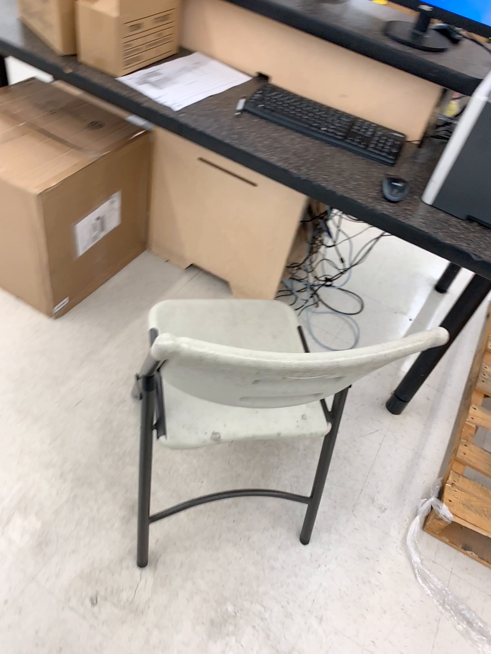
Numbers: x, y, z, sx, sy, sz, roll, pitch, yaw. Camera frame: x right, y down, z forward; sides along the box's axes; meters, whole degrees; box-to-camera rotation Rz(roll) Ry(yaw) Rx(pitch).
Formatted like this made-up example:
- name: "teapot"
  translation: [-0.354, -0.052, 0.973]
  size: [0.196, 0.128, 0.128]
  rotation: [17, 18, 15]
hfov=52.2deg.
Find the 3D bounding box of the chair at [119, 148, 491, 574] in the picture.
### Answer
- name: "chair"
  translation: [-0.003, 0.105, 1.129]
  size: [0.530, 0.747, 0.562]
  rotation: [-1, 49, -15]
